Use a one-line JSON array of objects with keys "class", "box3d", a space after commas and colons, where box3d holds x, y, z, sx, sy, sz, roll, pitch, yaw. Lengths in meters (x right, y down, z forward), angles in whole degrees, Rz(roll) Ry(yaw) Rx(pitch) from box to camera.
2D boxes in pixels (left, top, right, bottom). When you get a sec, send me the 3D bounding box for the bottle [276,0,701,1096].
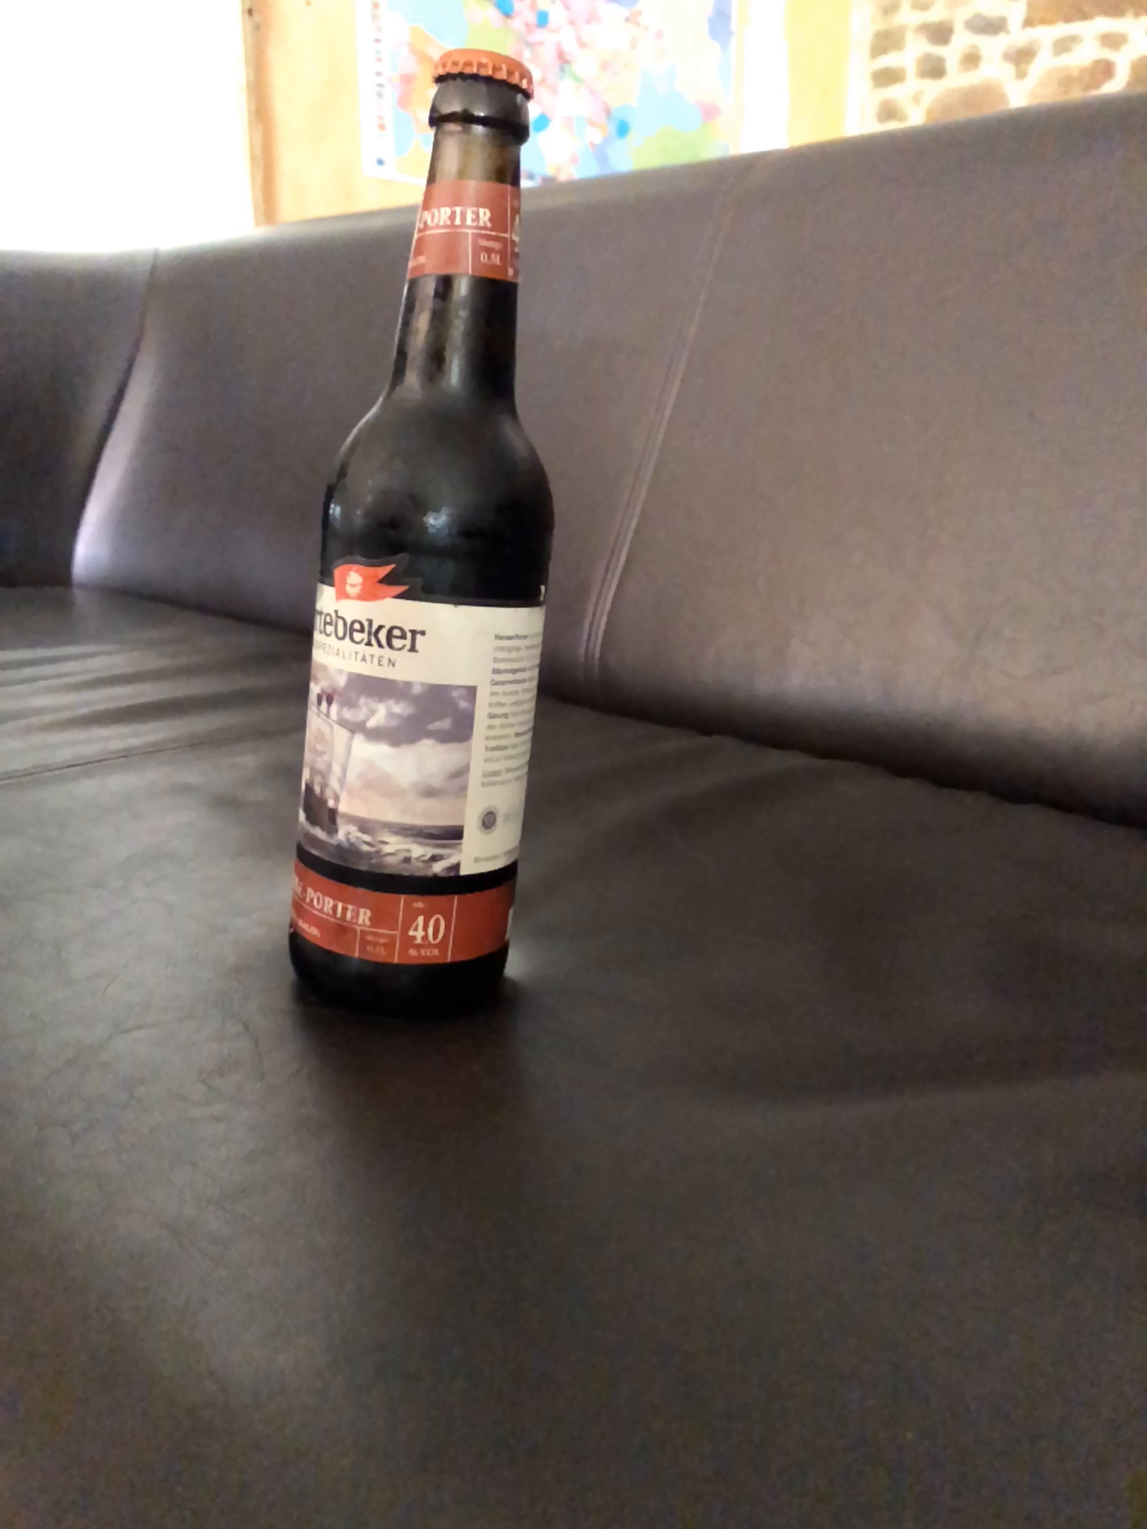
[{"class": "bottle", "box3d": [-0.032, -0.057, 0.368, 0.080, 0.279, 0.080, 4, 13, -1]}]
